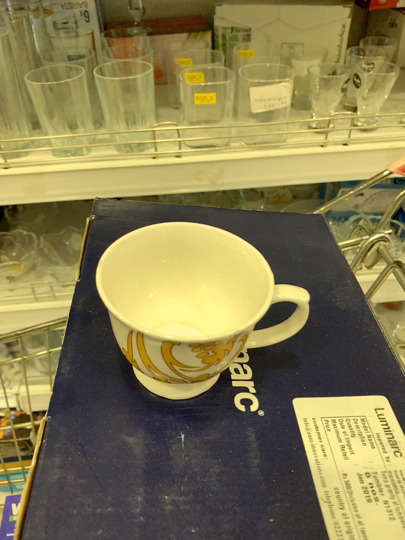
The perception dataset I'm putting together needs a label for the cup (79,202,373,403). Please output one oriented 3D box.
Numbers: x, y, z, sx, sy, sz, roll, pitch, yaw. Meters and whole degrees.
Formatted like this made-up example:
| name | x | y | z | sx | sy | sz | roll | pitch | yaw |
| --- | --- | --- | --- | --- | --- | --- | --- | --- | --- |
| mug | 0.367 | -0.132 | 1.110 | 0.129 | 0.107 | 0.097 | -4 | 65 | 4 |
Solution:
| name | x | y | z | sx | sy | sz | roll | pitch | yaw |
| --- | --- | --- | --- | --- | --- | --- | --- | --- | --- |
| cup | 0.006 | 0.010 | 0.167 | 0.090 | 0.040 | 0.070 | 1 | 41 | -3 |
